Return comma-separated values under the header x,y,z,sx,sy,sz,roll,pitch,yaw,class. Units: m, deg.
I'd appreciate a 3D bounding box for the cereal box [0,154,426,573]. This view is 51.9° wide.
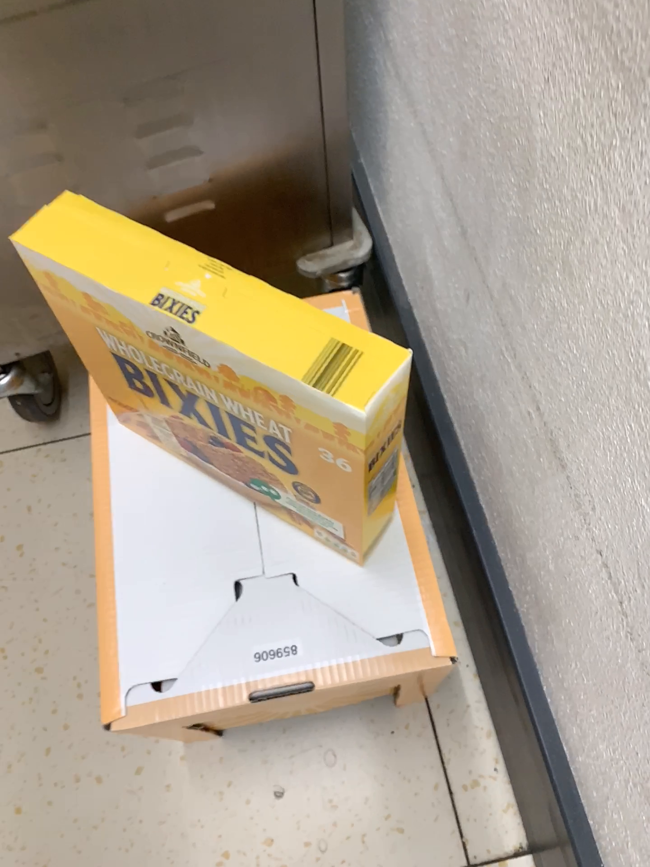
x,y,z,sx,sy,sz,roll,pitch,yaw,class
-0.076,-0.033,0.520,0.291,0.279,0.070,28,68,17,cereal box
